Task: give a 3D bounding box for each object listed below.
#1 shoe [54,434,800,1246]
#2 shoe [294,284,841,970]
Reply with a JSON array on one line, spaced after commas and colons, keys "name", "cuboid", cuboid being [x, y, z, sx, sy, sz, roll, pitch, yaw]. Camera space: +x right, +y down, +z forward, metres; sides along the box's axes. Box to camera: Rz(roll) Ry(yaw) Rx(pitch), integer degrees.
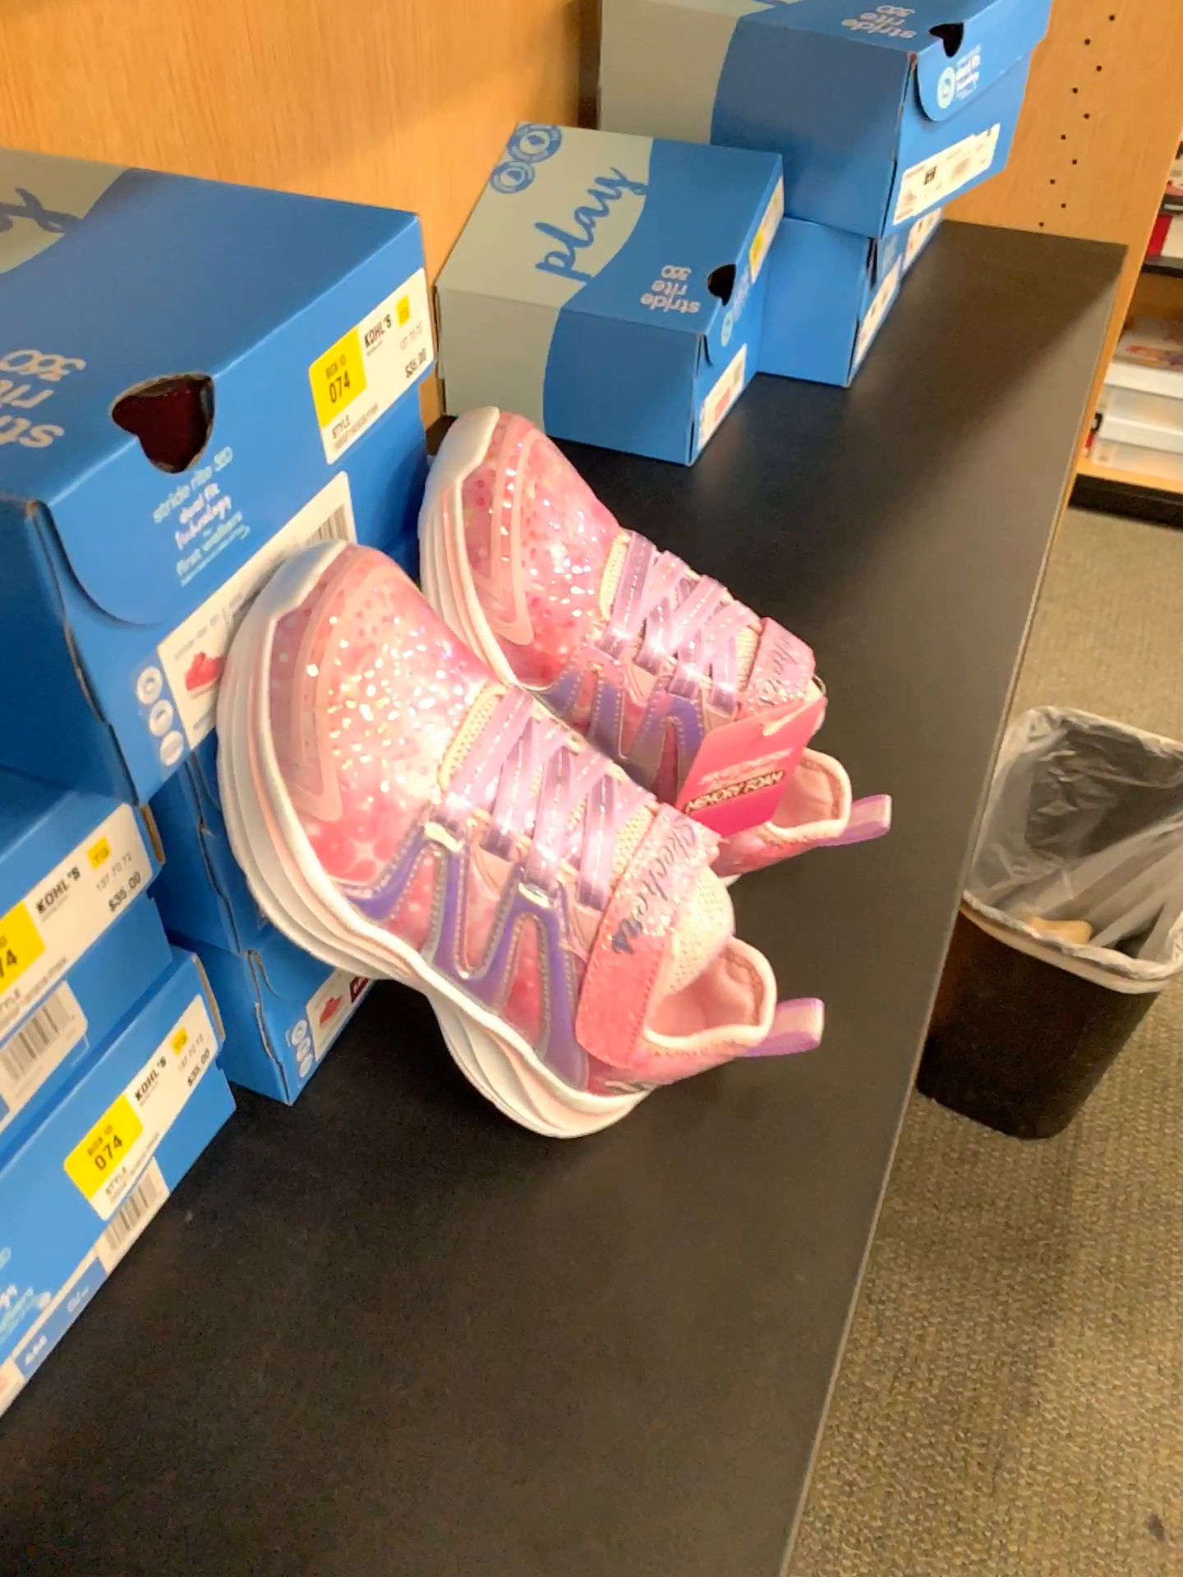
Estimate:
[{"name": "shoe", "cuboid": [-0.022, 0.026, 0.325, 0.080, 0.209, 0.090, 0, 48, 31]}, {"name": "shoe", "cuboid": [0.009, -0.036, 0.387, 0.080, 0.199, 0.090, -3, 48, 28]}]
